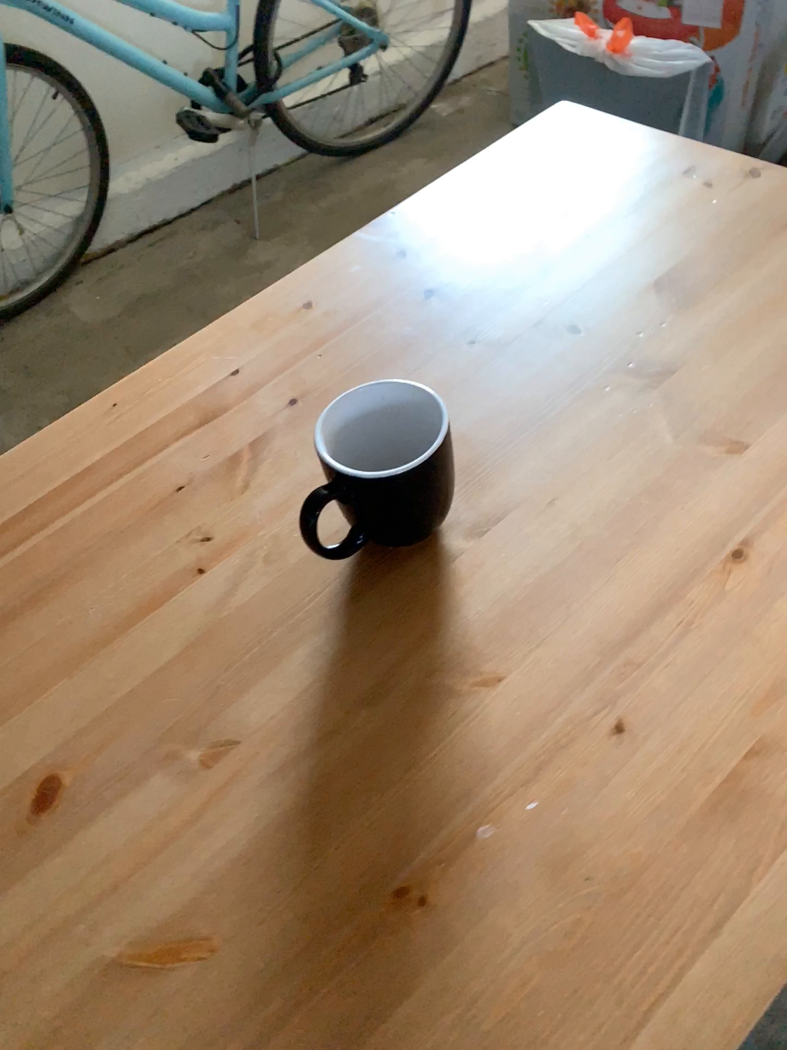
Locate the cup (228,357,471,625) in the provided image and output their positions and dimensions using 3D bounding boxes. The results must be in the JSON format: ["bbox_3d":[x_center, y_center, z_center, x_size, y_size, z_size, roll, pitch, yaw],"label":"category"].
[{"bbox_3d":[-0.026,-0.027,0.609,0.100,0.110,0.140,27,62,27],"label":"cup"}]
